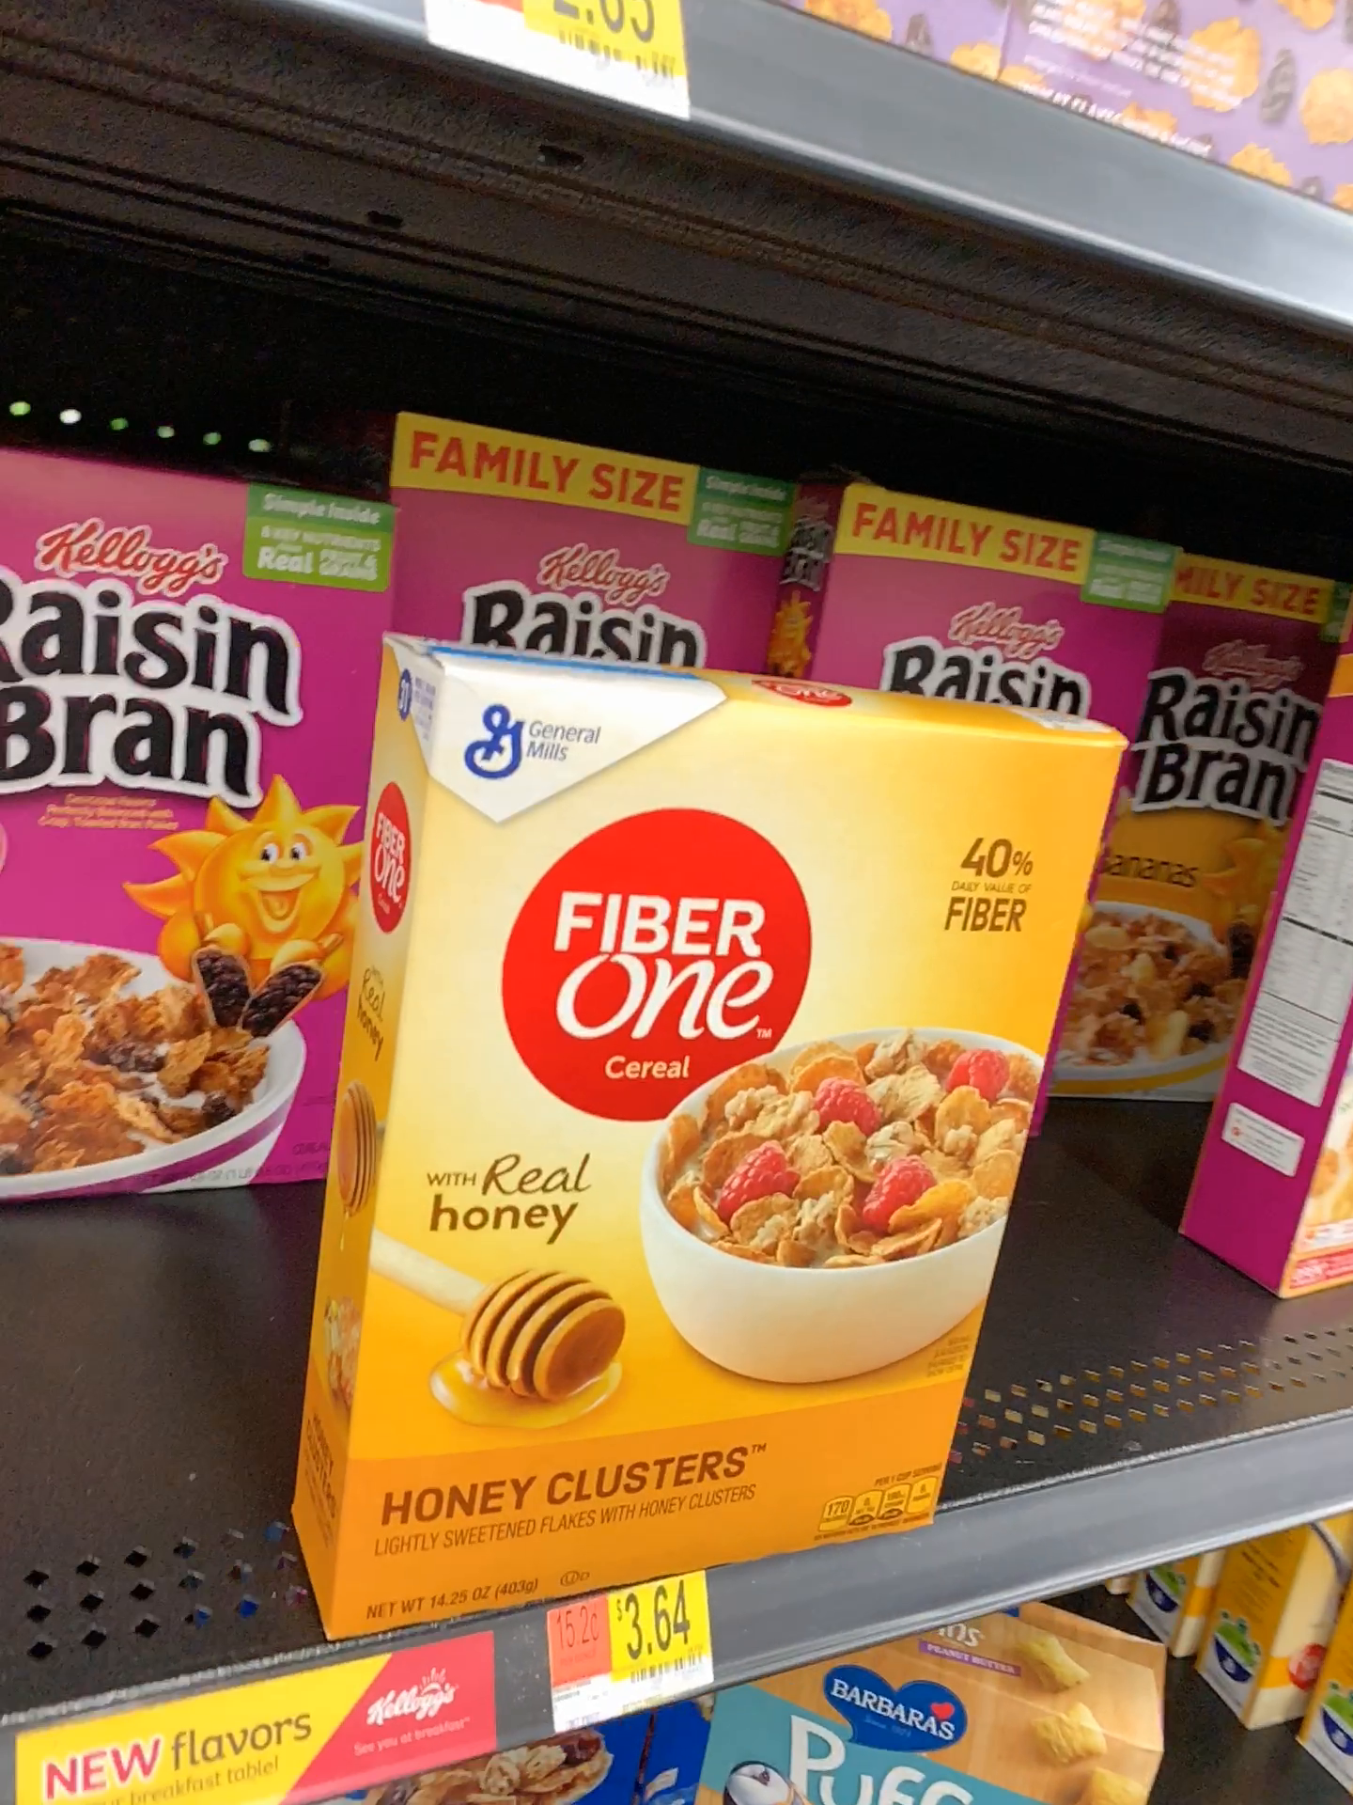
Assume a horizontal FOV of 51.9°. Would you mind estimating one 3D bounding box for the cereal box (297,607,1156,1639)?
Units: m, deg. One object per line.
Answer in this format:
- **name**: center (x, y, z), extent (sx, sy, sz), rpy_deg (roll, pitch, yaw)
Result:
- **cereal box**: center (0.010, 0.062, 0.391), extent (0.200, 0.259, 0.050), rpy_deg (2, 17, -25)
